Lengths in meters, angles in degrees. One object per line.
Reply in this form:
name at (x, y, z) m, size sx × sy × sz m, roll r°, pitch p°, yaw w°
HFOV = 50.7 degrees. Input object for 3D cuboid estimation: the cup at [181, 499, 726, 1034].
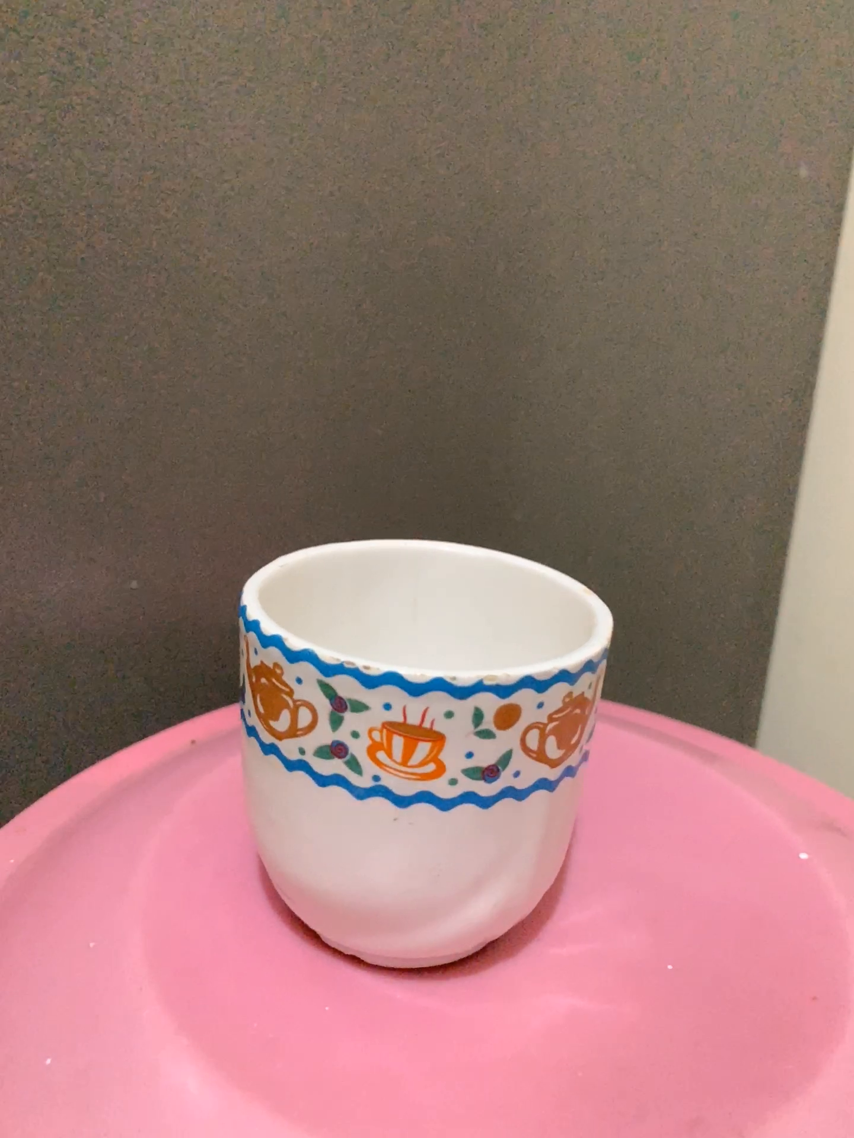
cup at (-0.001, 0.027, 0.174) m, size 0.076 × 0.062 × 0.072 m, roll 3°, pitch 16°, yaw -1°
